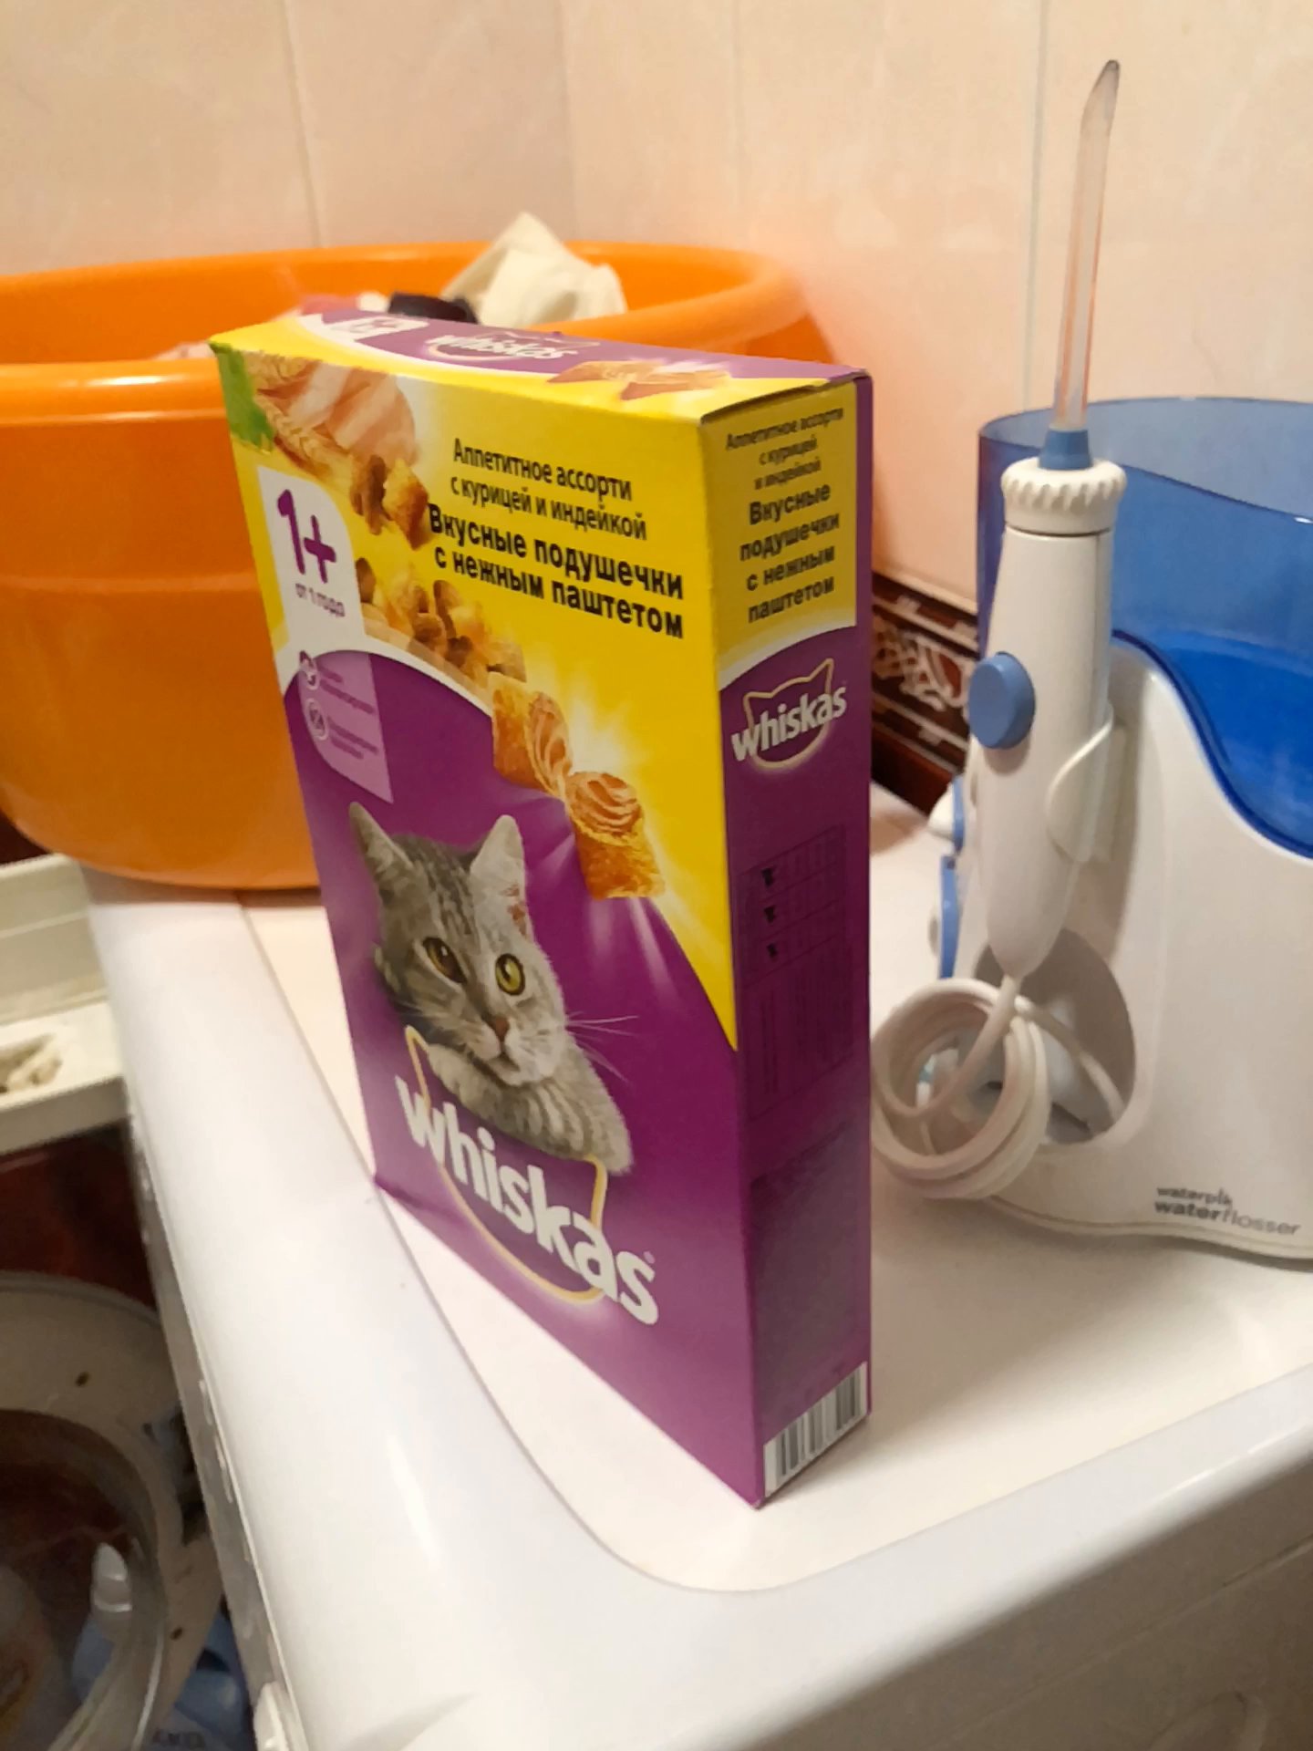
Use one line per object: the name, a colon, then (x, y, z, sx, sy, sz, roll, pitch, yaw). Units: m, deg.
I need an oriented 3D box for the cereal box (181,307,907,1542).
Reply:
cereal box: (-0.021, 0.005, 0.301, 0.040, 0.219, 0.150, -26, 35, -35)
